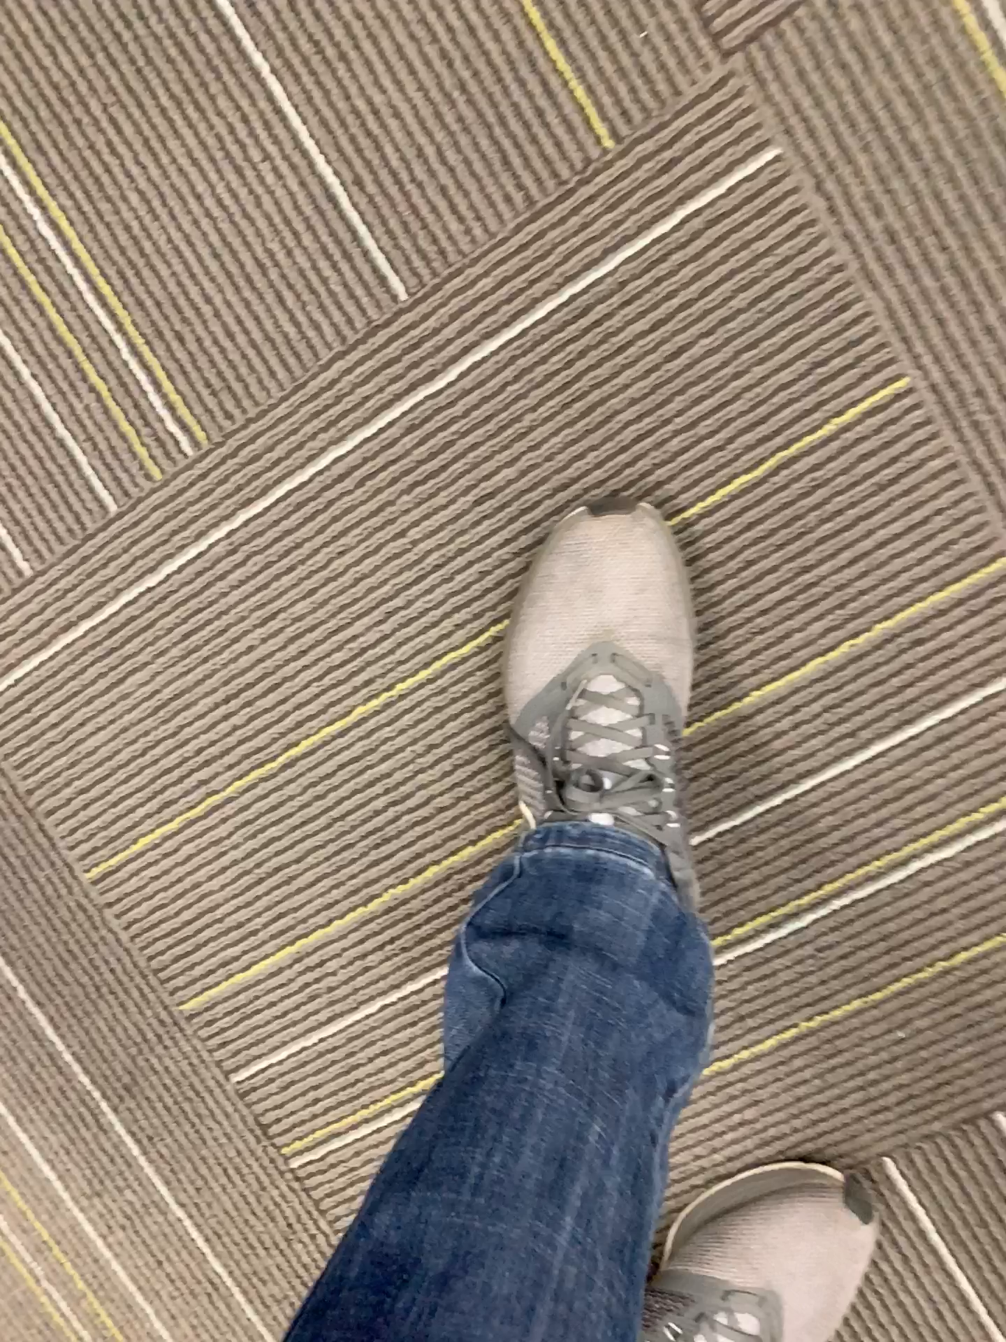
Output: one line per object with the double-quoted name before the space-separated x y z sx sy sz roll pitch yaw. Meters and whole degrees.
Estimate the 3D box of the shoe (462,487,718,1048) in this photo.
"shoe" 0.058 0.054 0.610 0.131 0.093 0.313 -1 102 10

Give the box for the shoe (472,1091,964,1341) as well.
"shoe" 0.135 0.442 0.696 0.128 0.093 0.300 45 106 -2
